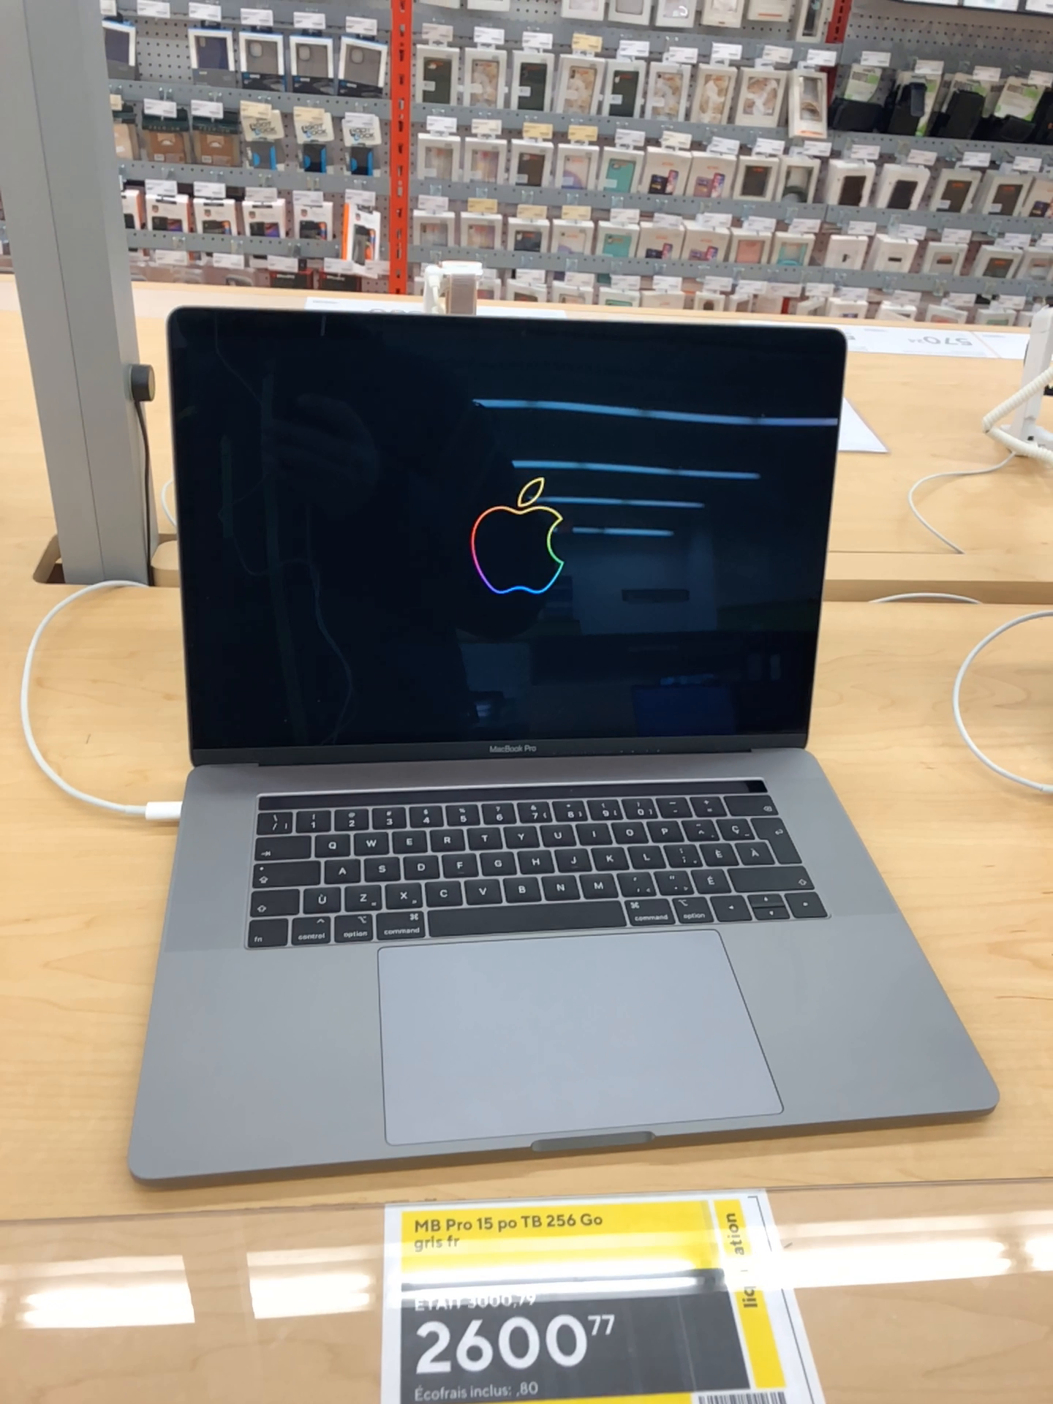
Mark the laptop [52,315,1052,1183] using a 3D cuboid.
[{"bbox_3d":[0.015,-0.009,0.501,0.329,0.212,0.299,-1,36,-10],"label":"laptop"}]
